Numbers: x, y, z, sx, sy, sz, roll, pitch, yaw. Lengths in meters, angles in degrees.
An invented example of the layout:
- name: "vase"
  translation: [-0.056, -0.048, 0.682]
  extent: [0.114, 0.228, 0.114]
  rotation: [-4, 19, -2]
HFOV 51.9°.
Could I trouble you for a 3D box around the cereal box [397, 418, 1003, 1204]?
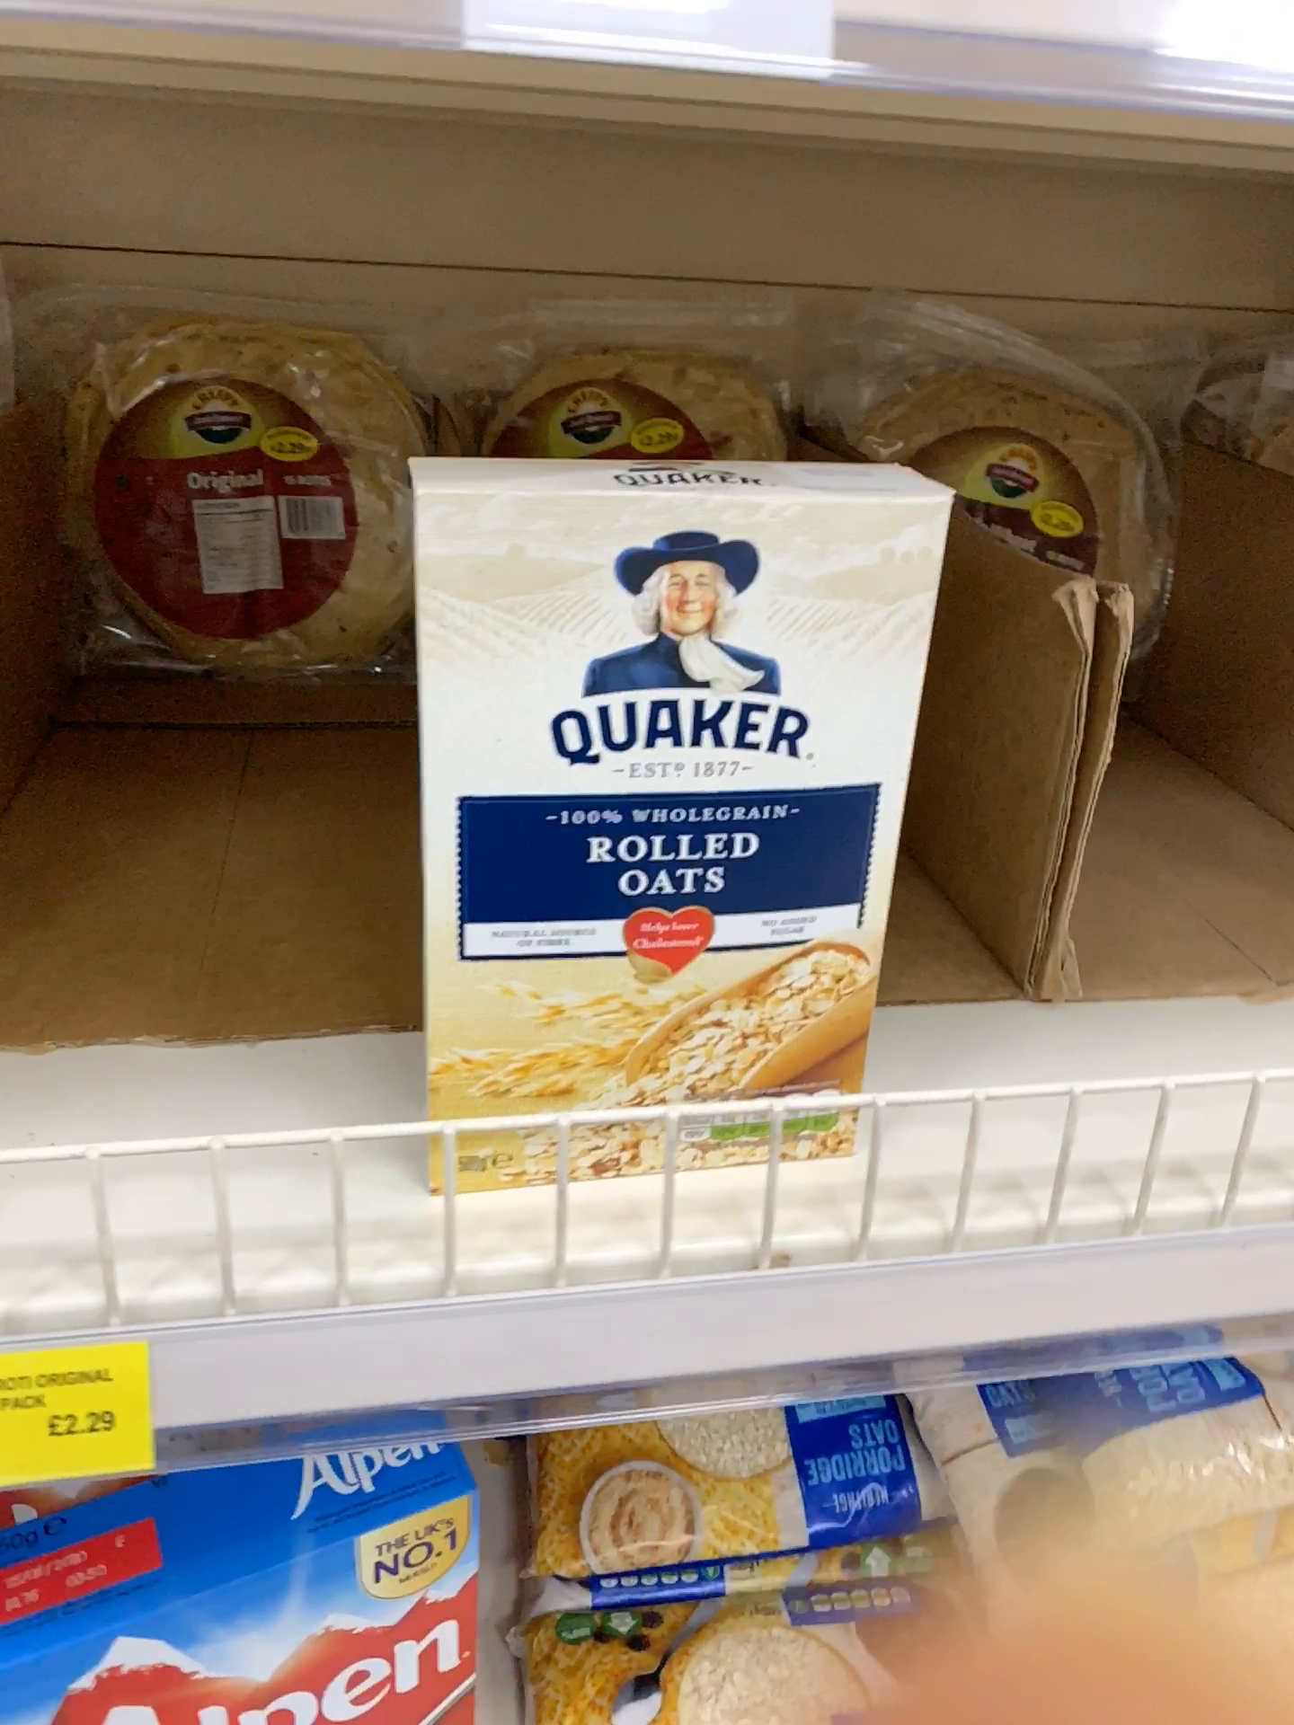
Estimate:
- name: "cereal box"
  translation: [0.005, -0.012, 0.396]
  extent: [0.150, 0.218, 0.060]
  rotation: [-2, 26, -11]
